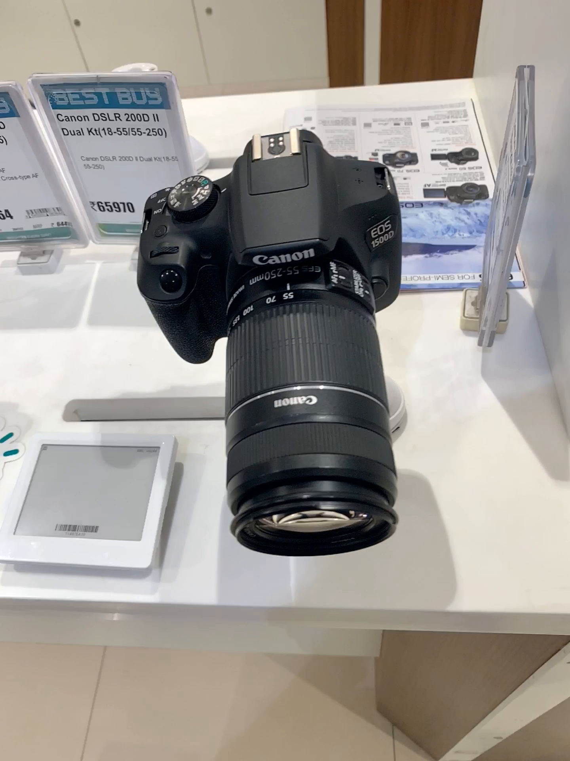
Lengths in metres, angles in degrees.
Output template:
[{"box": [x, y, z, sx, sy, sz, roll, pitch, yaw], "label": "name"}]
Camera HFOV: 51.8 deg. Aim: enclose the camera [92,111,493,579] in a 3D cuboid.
[{"box": [-0.001, -0.015, 0.250, 0.117, 0.090, 0.164, -7, 60, 3], "label": "camera"}]
